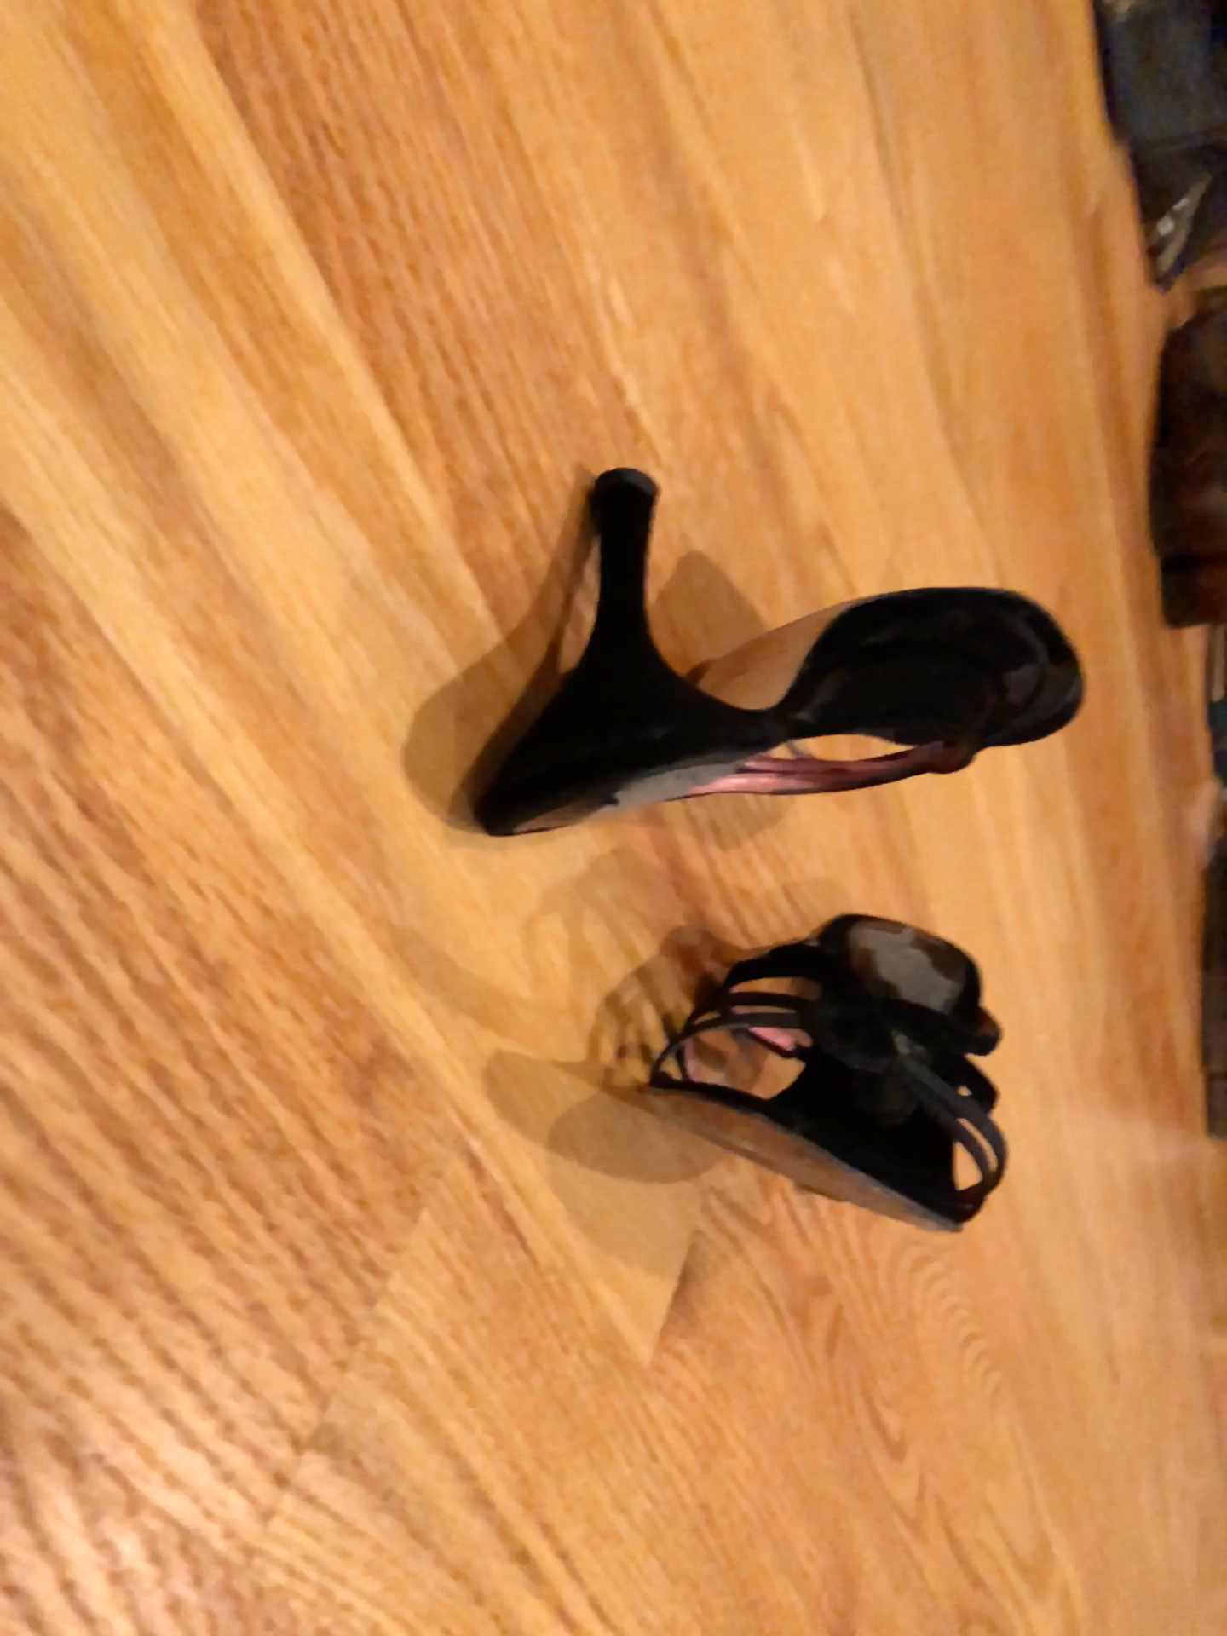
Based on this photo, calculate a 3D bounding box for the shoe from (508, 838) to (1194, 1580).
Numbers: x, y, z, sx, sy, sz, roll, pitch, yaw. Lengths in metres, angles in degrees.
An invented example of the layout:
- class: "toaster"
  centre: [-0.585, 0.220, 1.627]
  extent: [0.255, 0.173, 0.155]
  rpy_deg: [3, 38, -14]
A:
- class: "shoe"
  centre: [0.080, 0.072, 0.352]
  extent: [0.216, 0.104, 0.102]
  rpy_deg: [-14, 101, -60]

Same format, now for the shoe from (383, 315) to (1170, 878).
- class: "shoe"
  centre: [0.063, -0.045, 0.326]
  extent: [0.237, 0.104, 0.082]
  rpy_deg: [-12, 101, -60]
